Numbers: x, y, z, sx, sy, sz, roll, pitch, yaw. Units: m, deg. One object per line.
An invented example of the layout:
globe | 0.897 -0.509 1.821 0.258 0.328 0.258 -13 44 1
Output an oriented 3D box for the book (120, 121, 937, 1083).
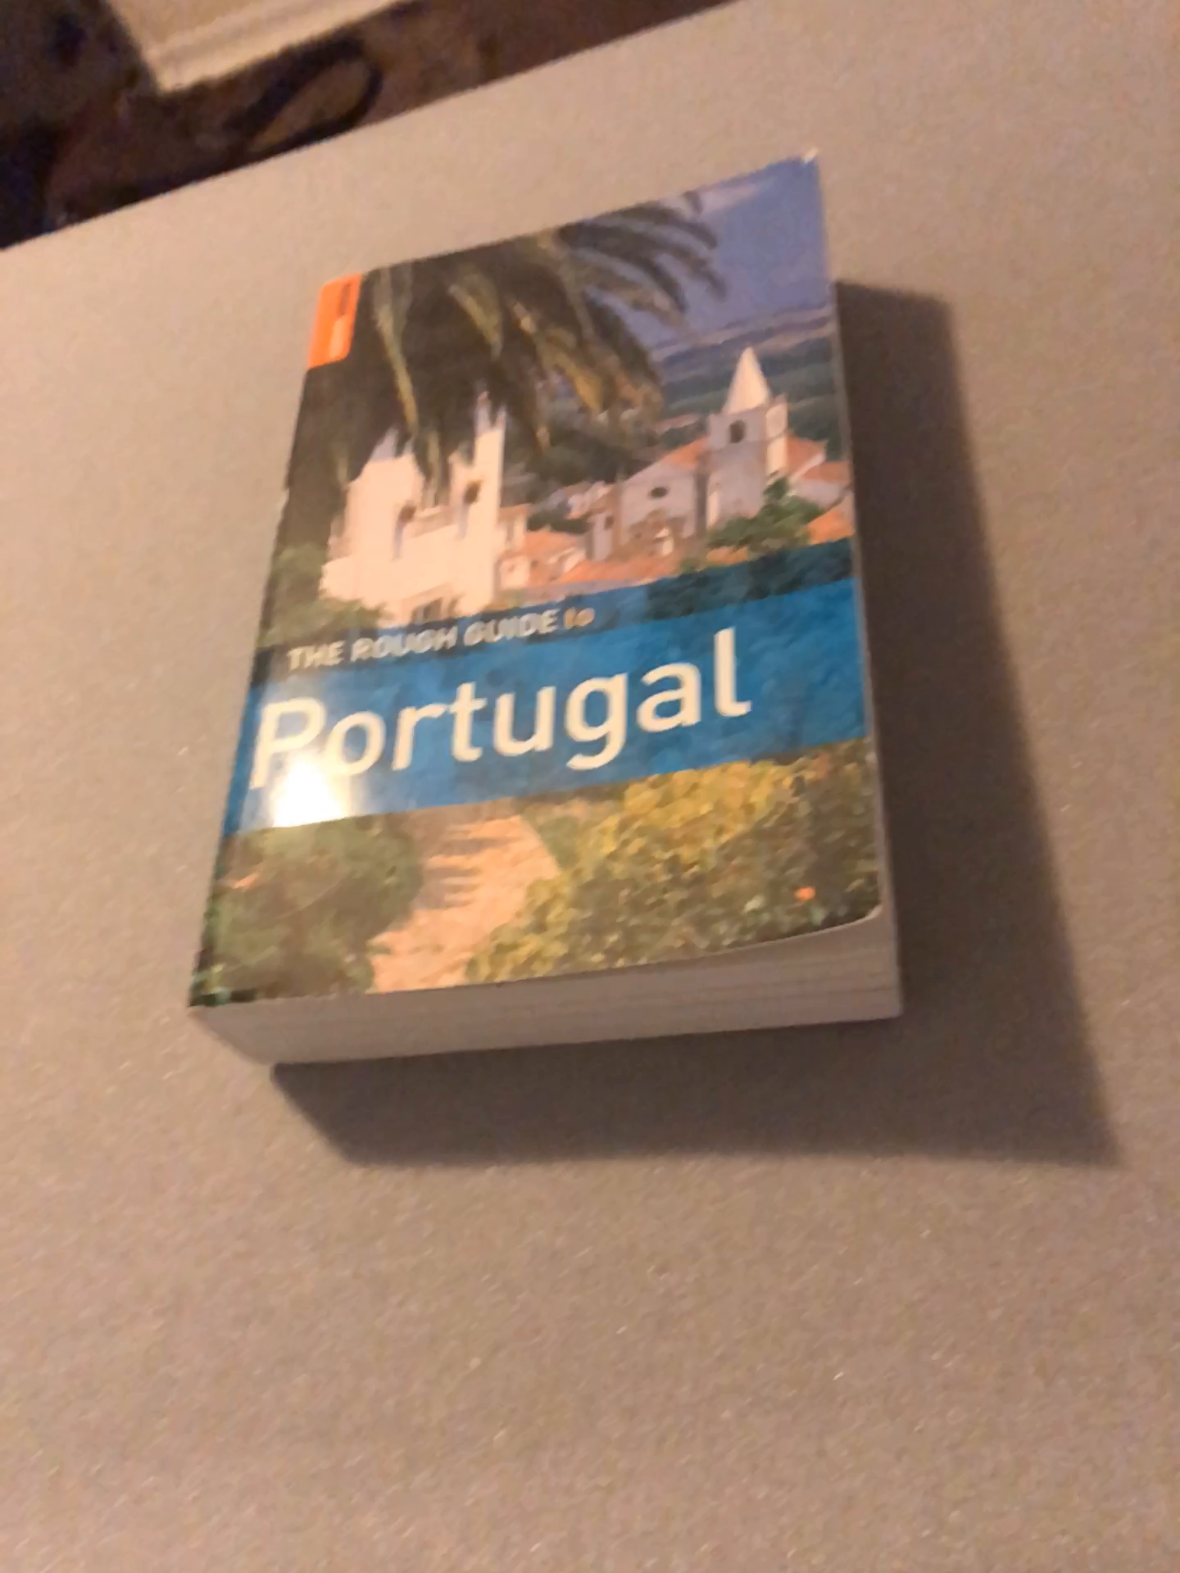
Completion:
book | -0.010 -0.047 0.286 0.139 0.040 0.204 -8 58 15
